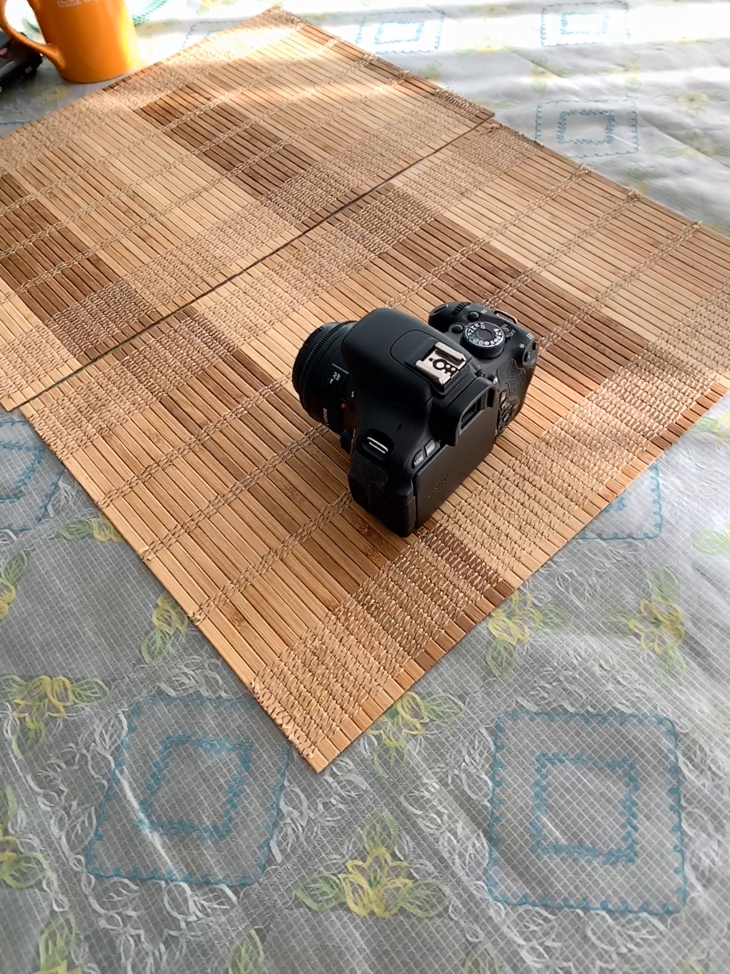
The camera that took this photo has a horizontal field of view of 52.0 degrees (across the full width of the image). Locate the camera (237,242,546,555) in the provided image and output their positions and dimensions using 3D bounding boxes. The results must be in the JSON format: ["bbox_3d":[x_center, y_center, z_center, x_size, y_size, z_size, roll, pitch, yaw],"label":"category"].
[{"bbox_3d":[0.018,-0.054,0.434,0.106,0.080,0.133,33,65,25],"label":"camera"}]
